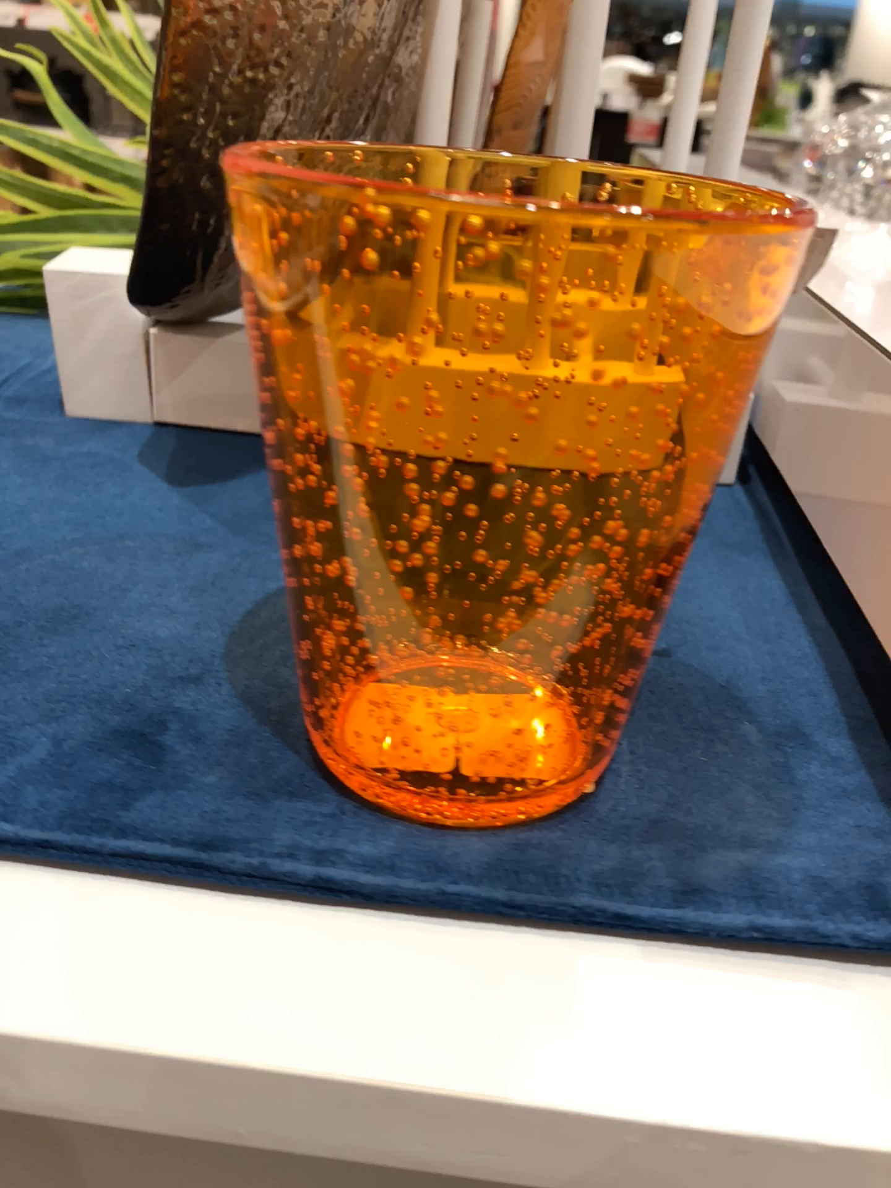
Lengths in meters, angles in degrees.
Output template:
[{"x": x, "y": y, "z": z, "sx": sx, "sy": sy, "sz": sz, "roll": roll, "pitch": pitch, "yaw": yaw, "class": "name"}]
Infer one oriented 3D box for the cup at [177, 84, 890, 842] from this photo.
[{"x": 0.004, "y": -0.022, "z": 0.153, "sx": 0.080, "sy": 0.090, "sz": 0.070, "roll": 1, "pitch": 28, "yaw": -11, "class": "cup"}]
